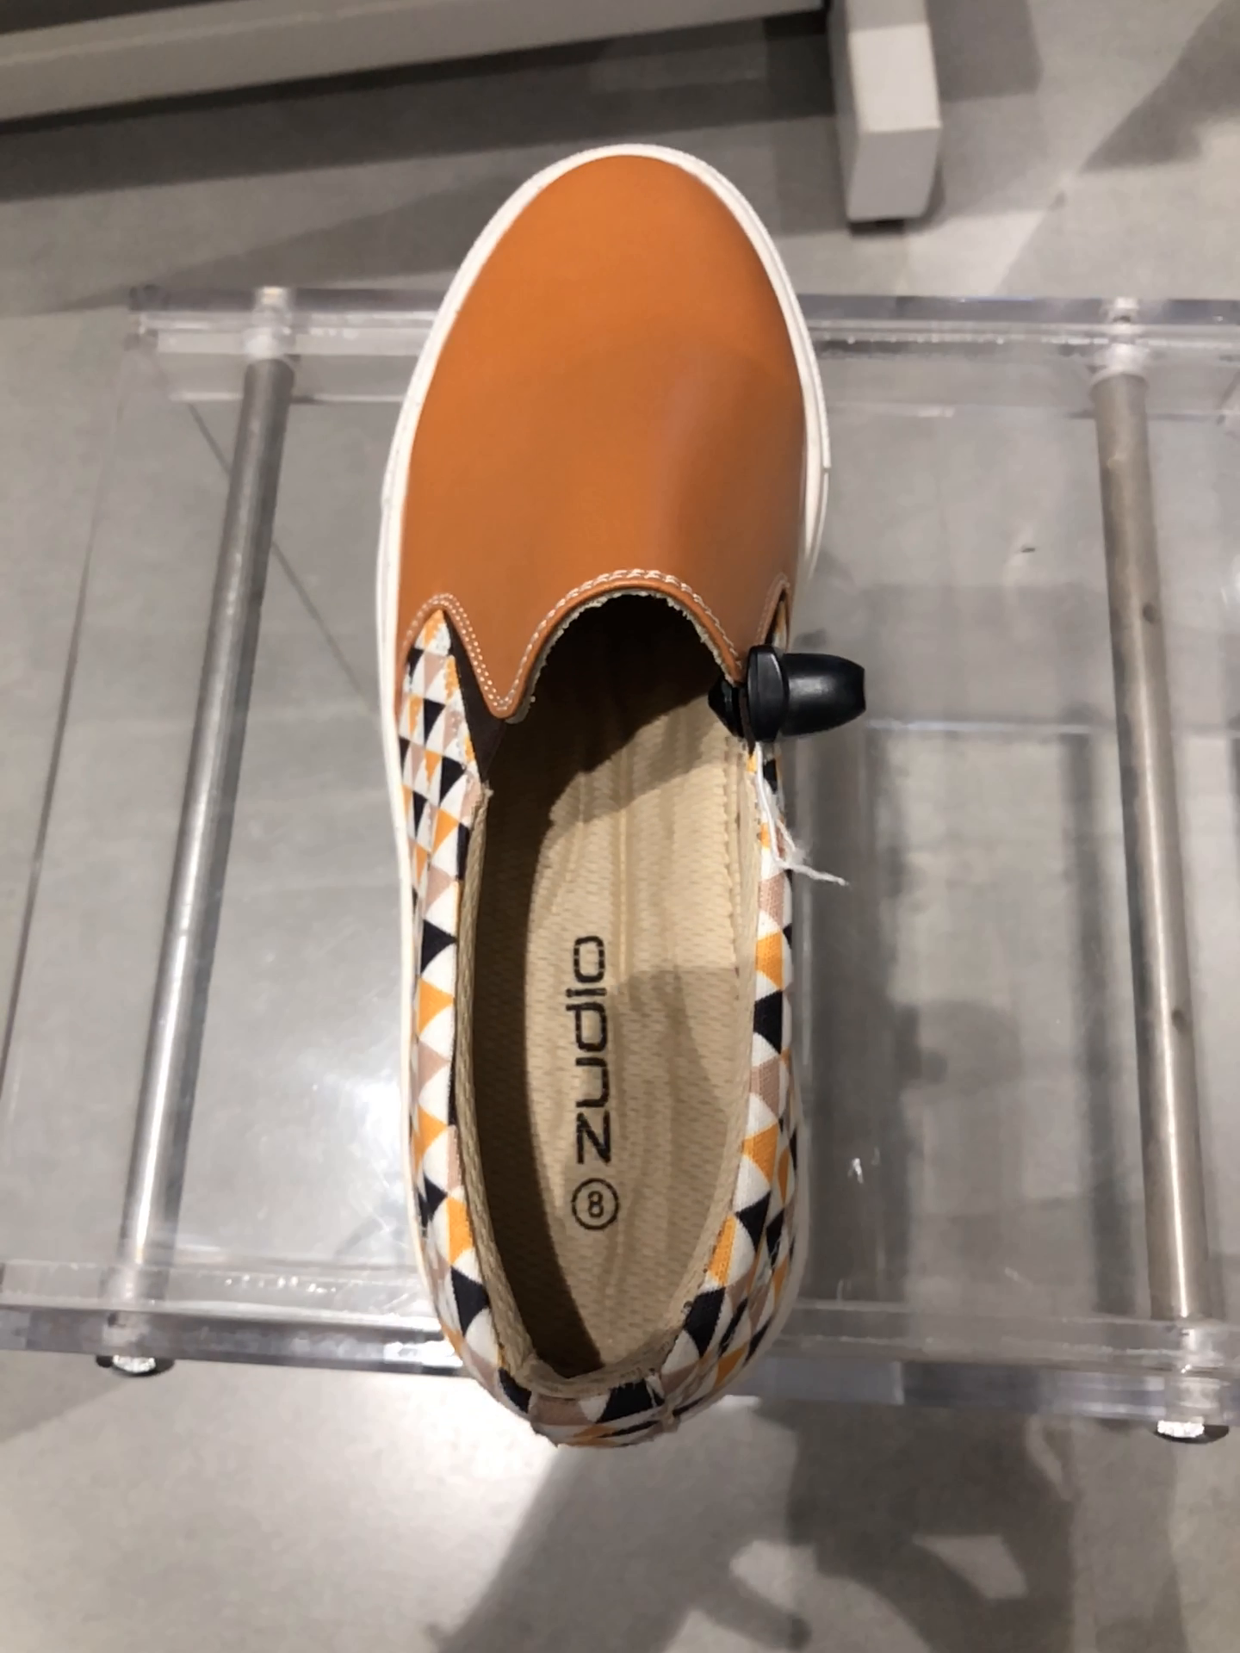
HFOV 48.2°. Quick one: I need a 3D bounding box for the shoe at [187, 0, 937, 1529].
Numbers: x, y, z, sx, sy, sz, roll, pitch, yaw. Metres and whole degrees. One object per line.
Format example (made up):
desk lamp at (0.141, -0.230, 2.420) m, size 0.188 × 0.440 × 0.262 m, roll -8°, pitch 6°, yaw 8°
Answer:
shoe at (-0.004, -0.023, 0.293) m, size 0.110 × 0.100 × 0.291 m, roll 0°, pitch 73°, yaw 3°
